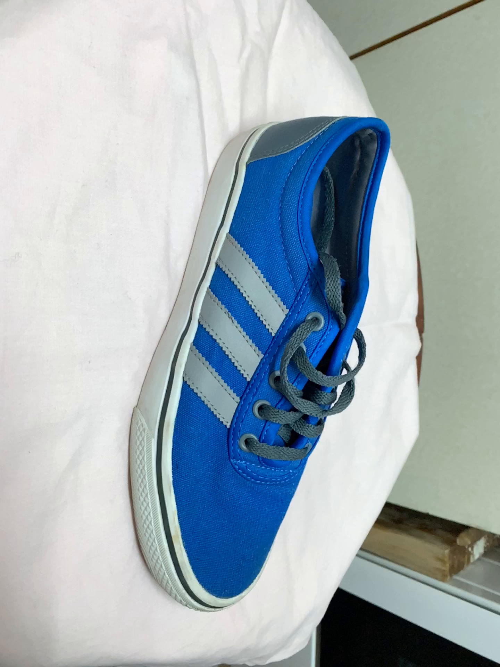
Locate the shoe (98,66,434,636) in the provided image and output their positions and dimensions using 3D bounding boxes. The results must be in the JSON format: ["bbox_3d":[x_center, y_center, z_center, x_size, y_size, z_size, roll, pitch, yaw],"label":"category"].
[{"bbox_3d":[0.014,0.008,0.273,0.101,0.089,0.234,19,78,-41],"label":"shoe"}]
